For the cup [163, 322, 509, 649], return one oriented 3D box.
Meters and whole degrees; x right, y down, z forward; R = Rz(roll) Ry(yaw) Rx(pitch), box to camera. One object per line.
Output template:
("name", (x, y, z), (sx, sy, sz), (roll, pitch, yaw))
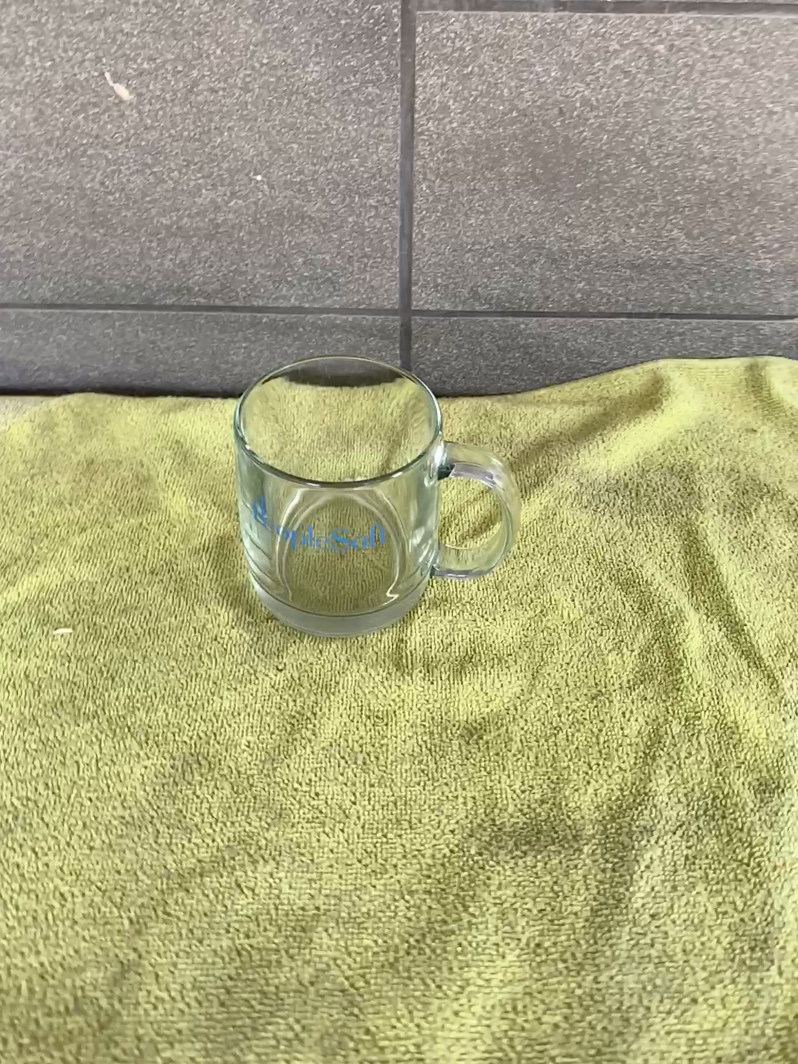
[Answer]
("cup", (-0.020, -0.020, 0.355), (0.120, 0.100, 0.080), (7, 45, 7))
